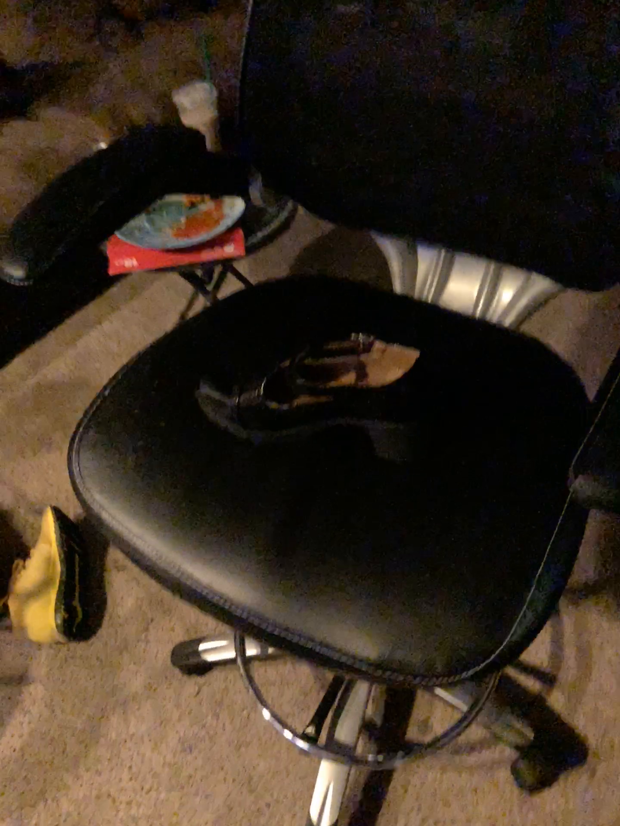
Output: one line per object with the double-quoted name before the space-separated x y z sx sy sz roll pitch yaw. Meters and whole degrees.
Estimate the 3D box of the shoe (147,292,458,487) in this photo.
"shoe" -0.004 -0.028 0.679 0.270 0.100 0.110 11 48 17
